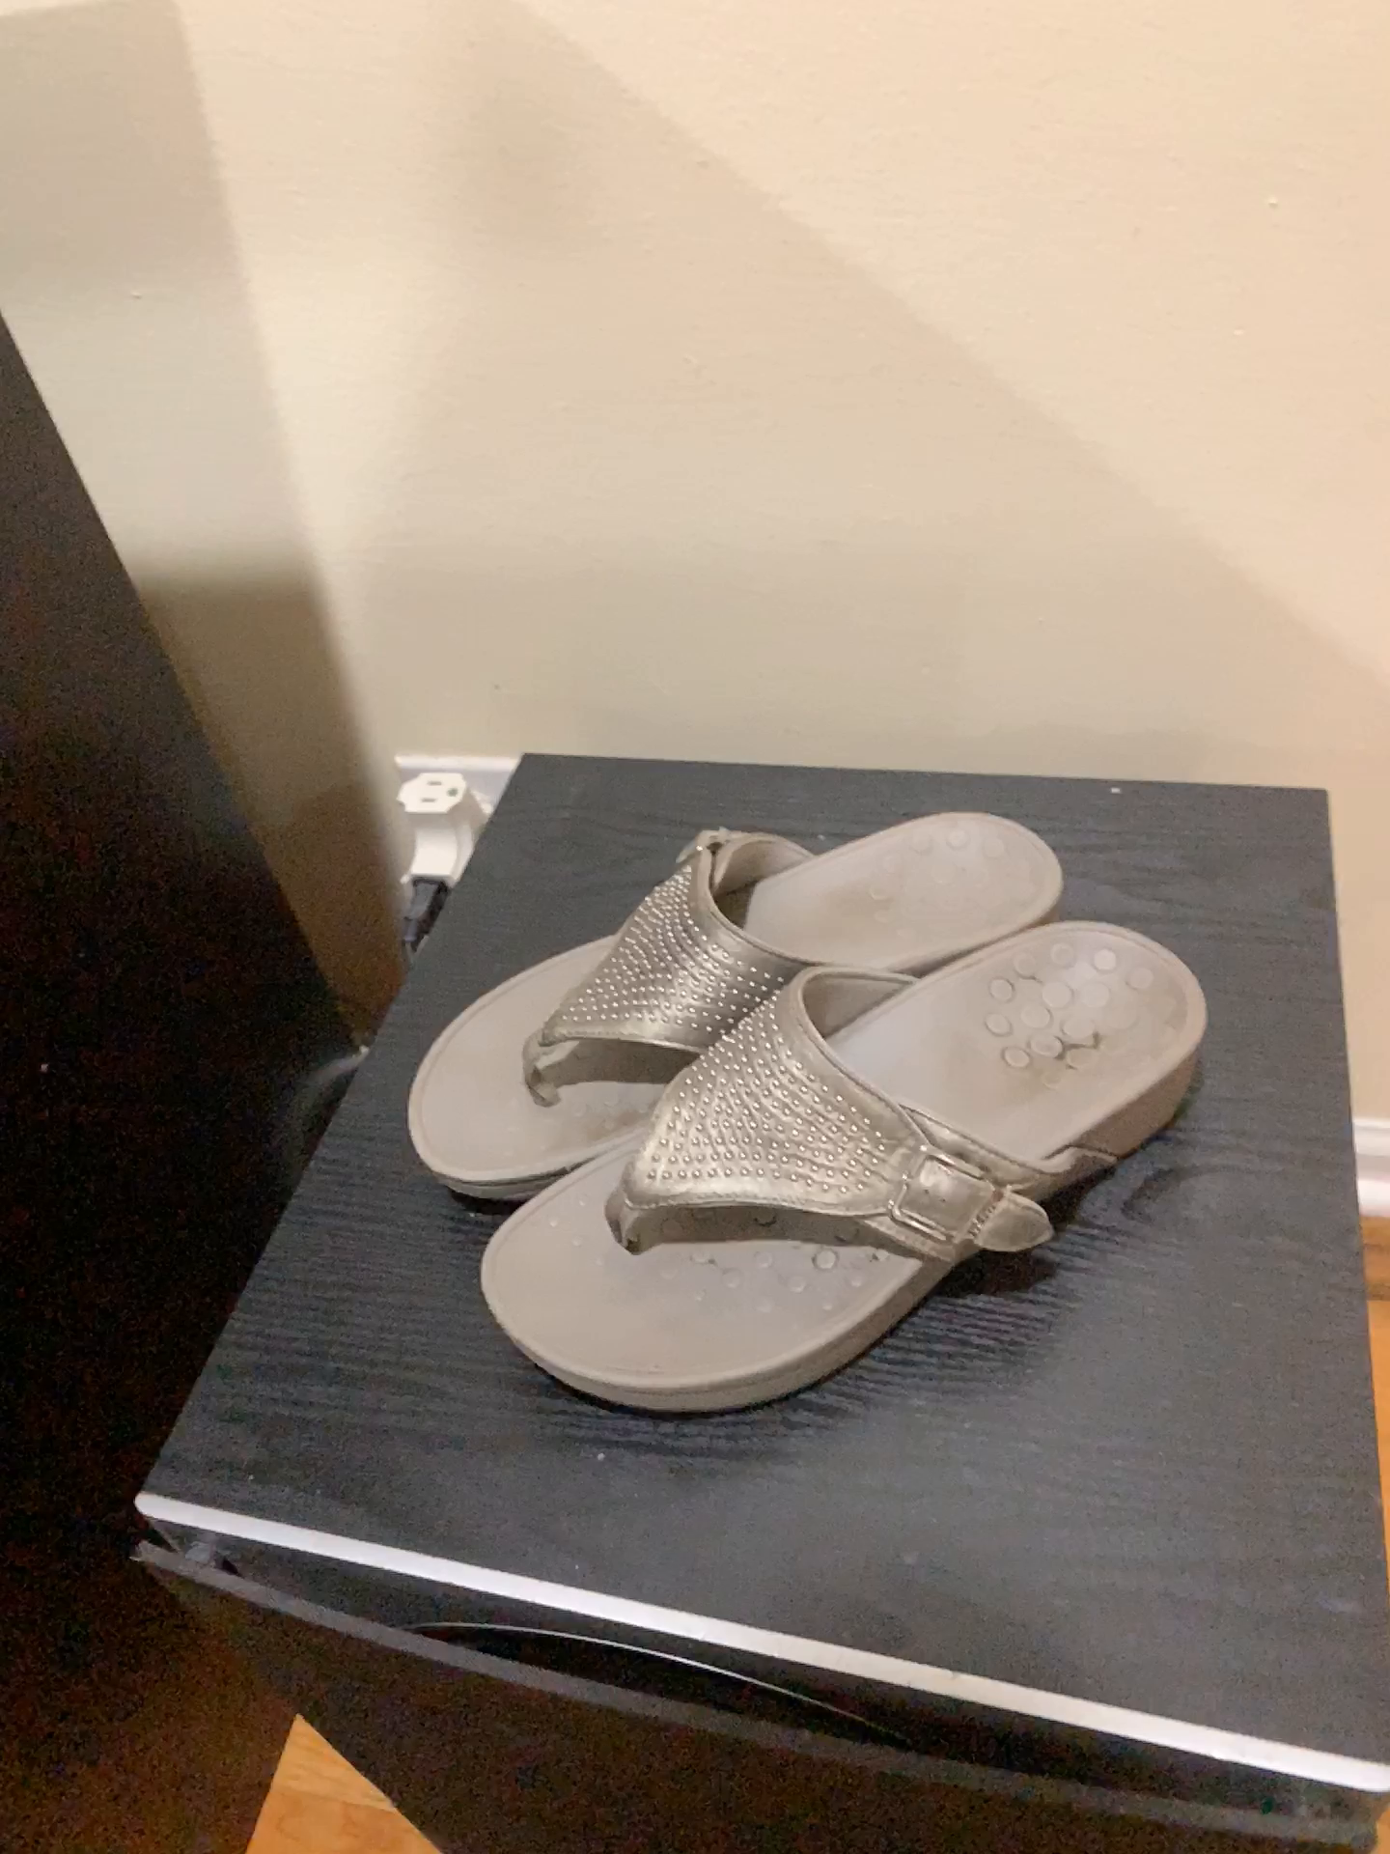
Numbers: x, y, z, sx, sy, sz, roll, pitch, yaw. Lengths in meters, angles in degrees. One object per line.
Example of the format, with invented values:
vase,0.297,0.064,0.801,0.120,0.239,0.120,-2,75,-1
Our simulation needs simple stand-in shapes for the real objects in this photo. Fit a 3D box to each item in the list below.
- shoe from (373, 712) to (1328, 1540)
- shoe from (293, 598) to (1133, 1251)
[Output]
shoe,0.049,0.046,0.422,0.248,0.080,0.109,-30,47,-18
shoe,0.009,-0.009,0.483,0.248,0.080,0.109,-24,46,-13
